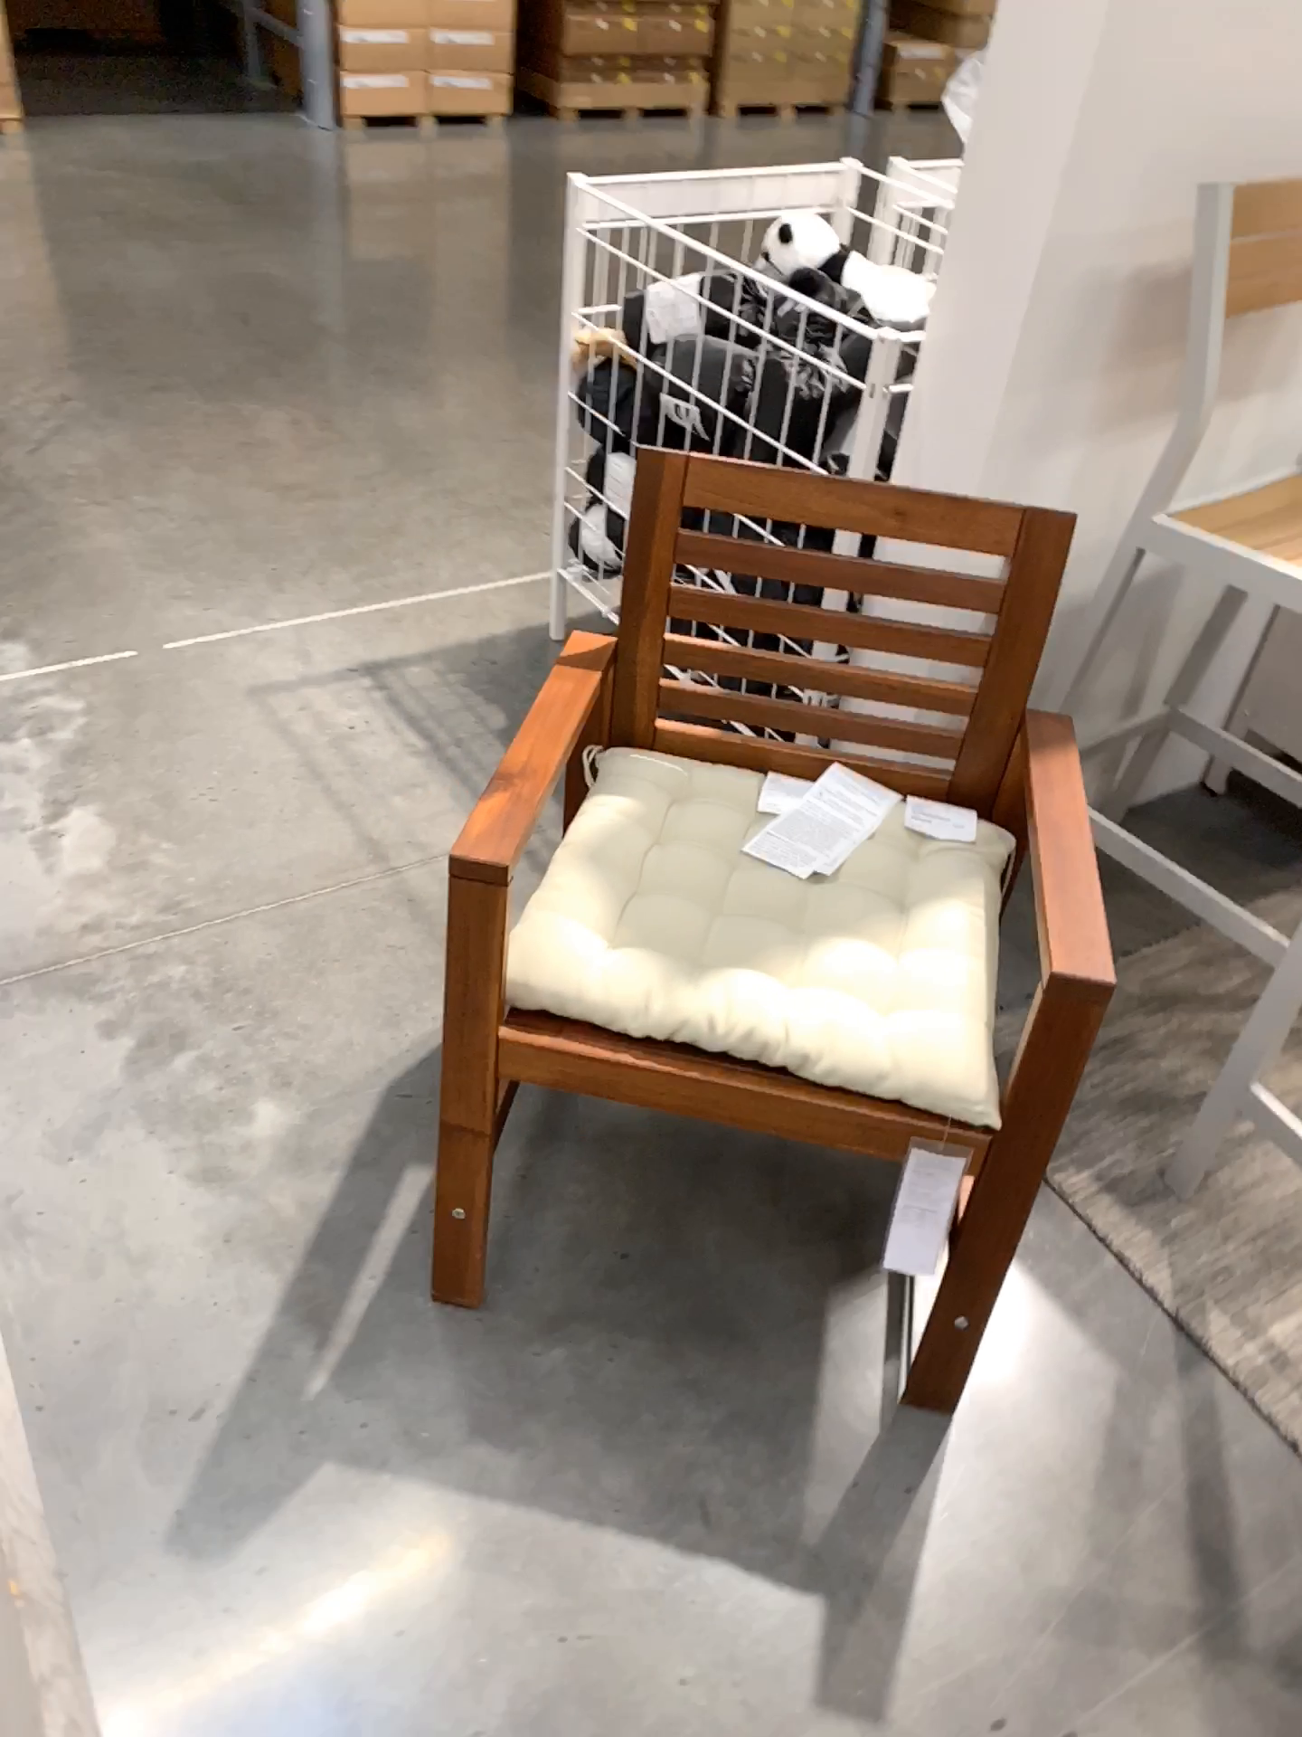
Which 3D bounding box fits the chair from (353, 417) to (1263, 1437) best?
[{"bbox_3d":[0.128,0.036,1.440,0.650,0.706,0.724,10,40,4],"label":"chair"}]
